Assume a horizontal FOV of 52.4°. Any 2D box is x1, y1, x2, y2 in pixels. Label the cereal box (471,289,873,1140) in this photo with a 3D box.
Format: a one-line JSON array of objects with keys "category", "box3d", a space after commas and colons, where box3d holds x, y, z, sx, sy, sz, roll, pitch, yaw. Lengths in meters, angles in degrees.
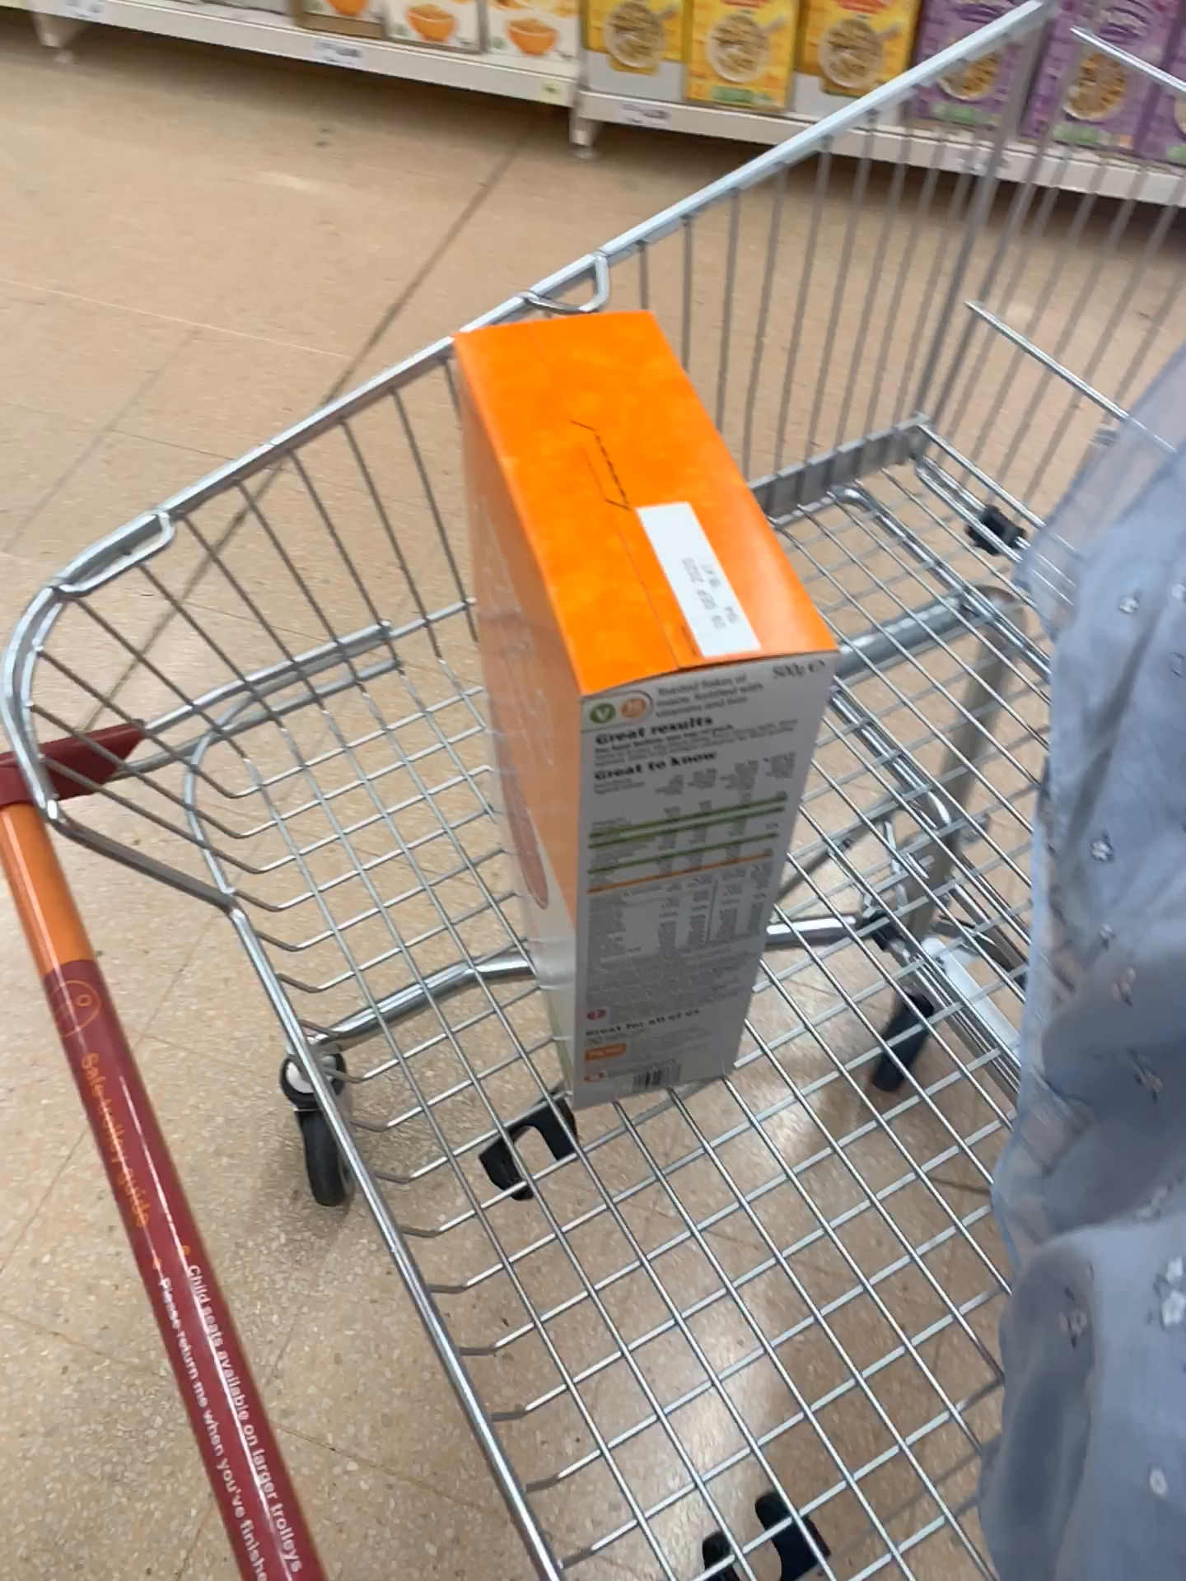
[{"category": "cereal box", "box3d": [0.013, -0.017, 0.530, 0.080, 0.308, 0.212, -10, 52, -10]}]
